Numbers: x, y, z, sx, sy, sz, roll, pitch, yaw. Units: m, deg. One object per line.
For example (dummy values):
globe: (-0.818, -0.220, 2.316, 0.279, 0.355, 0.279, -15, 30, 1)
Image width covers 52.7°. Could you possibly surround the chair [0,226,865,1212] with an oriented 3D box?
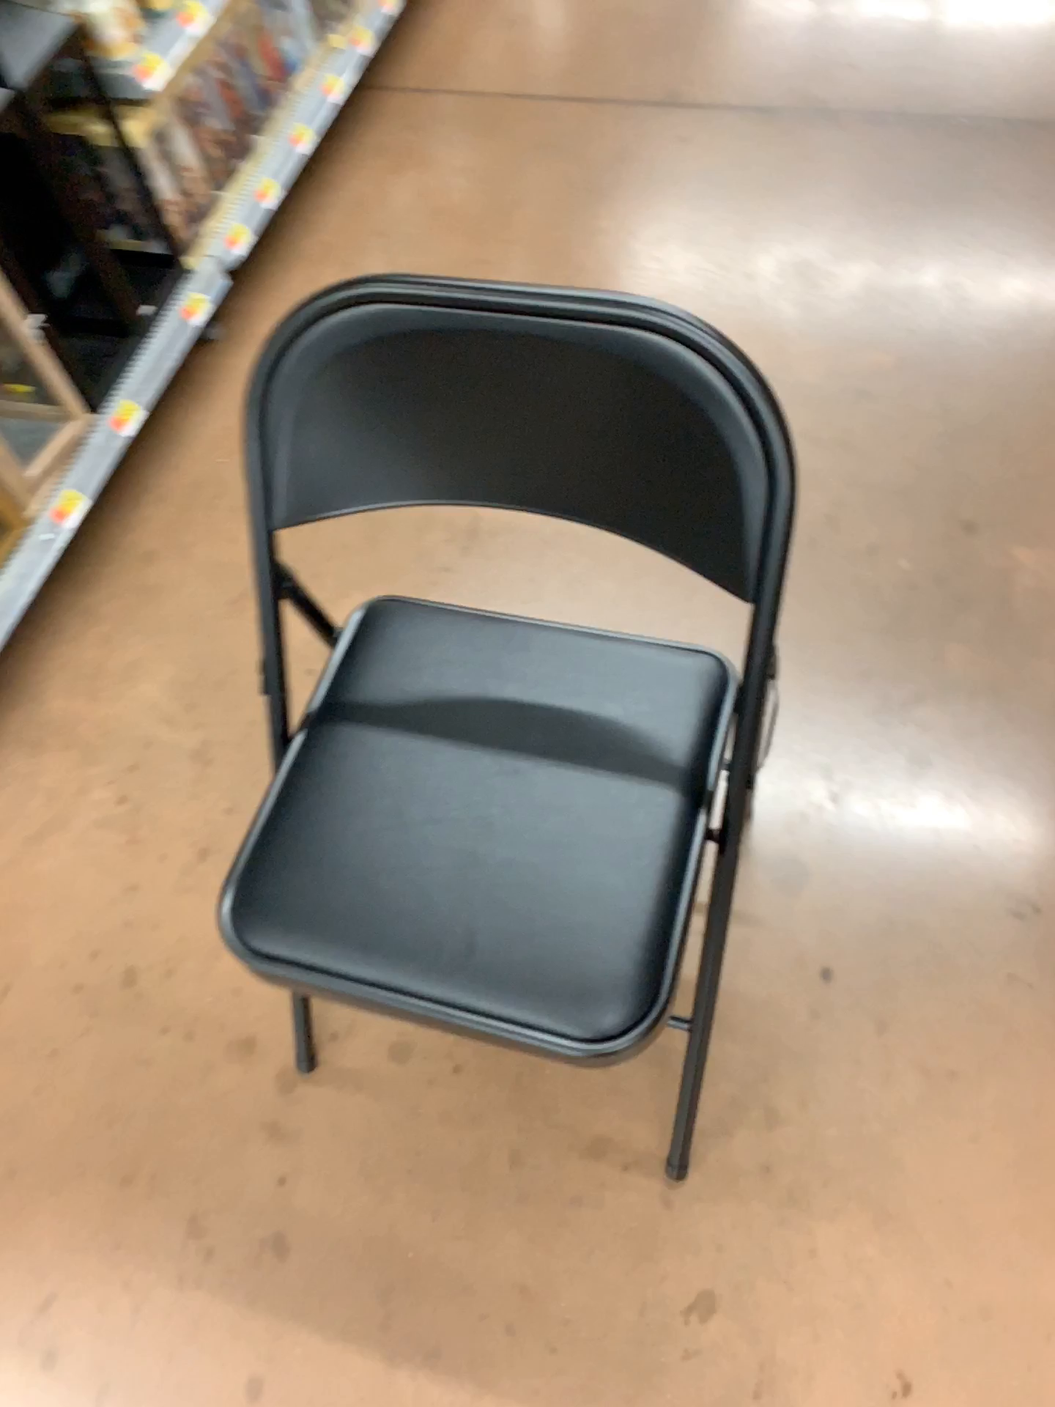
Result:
chair: (-0.040, 0.074, 0.894, 0.471, 0.697, 0.471, 10, 62, 14)
